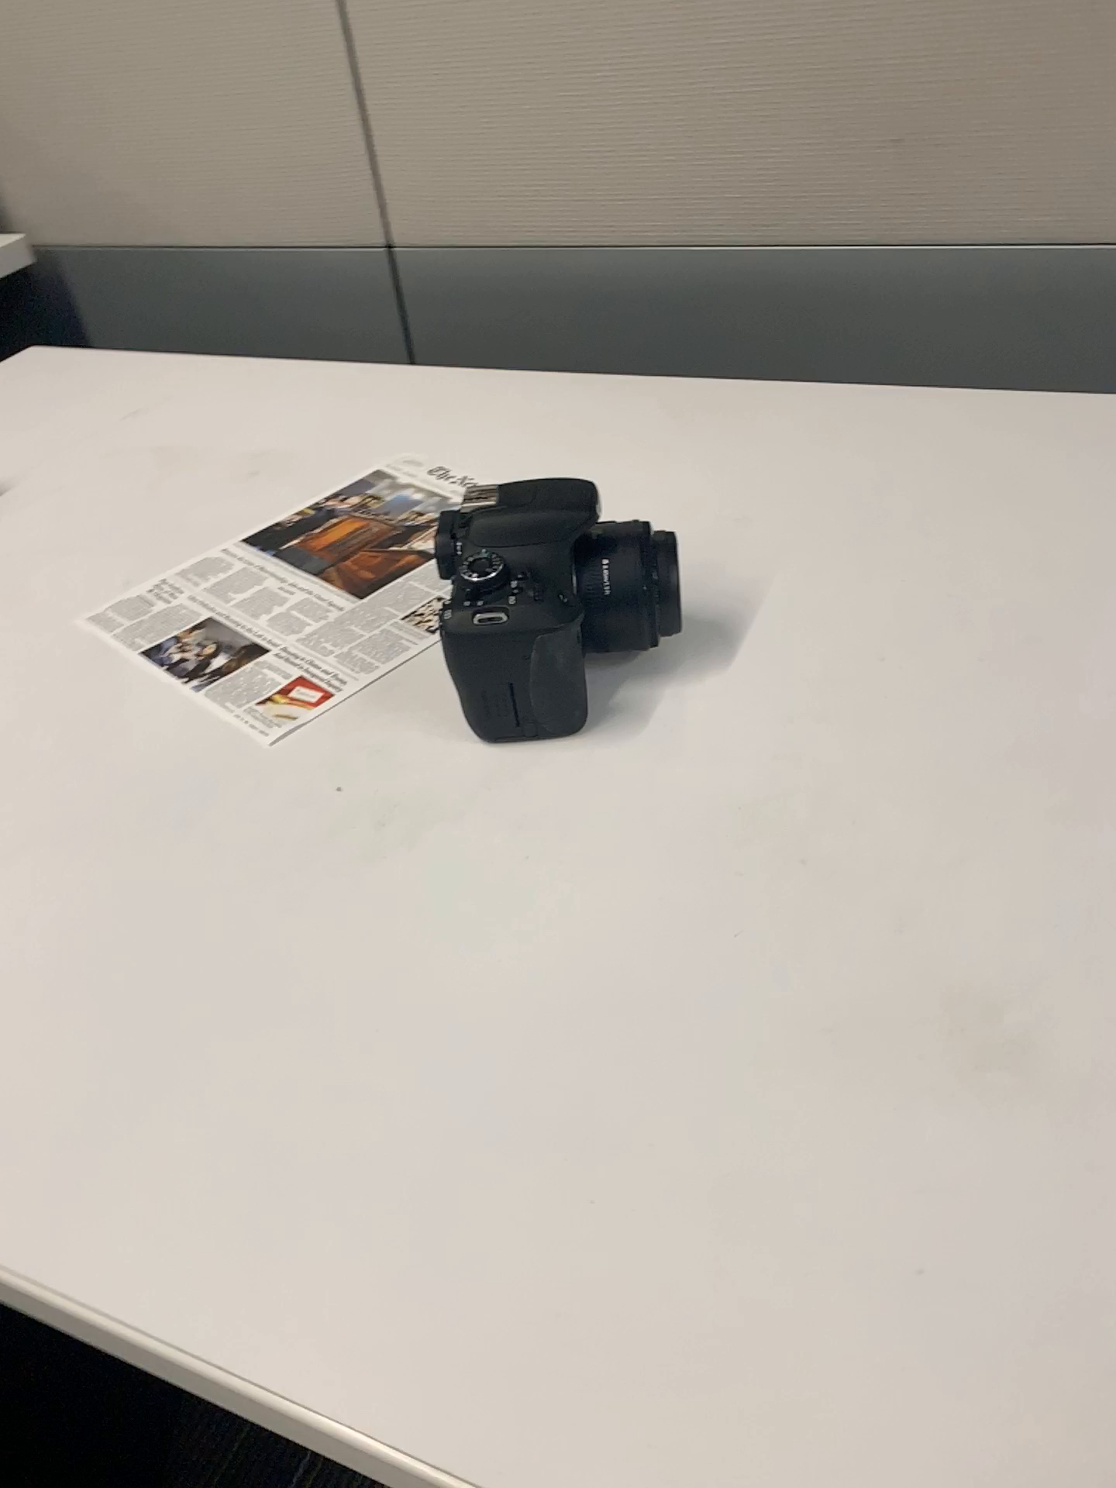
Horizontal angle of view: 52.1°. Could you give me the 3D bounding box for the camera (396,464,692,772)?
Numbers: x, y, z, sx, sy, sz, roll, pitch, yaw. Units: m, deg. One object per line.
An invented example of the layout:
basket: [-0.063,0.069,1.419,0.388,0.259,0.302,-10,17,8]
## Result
camera: [-0.005,-0.072,0.620,0.136,0.084,0.152,-6,38,3]
